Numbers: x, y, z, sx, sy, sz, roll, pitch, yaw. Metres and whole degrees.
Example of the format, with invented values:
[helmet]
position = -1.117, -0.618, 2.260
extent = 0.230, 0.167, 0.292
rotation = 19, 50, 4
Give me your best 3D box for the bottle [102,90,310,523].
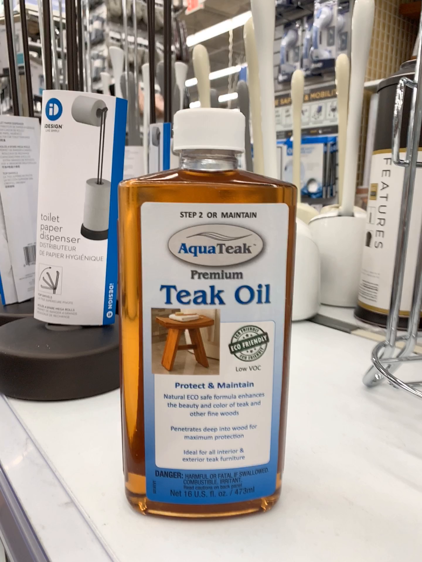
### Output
[bottle]
position = -0.004, 0.017, 0.228
extent = 0.088, 0.207, 0.046
rotation = 0, 11, -4
